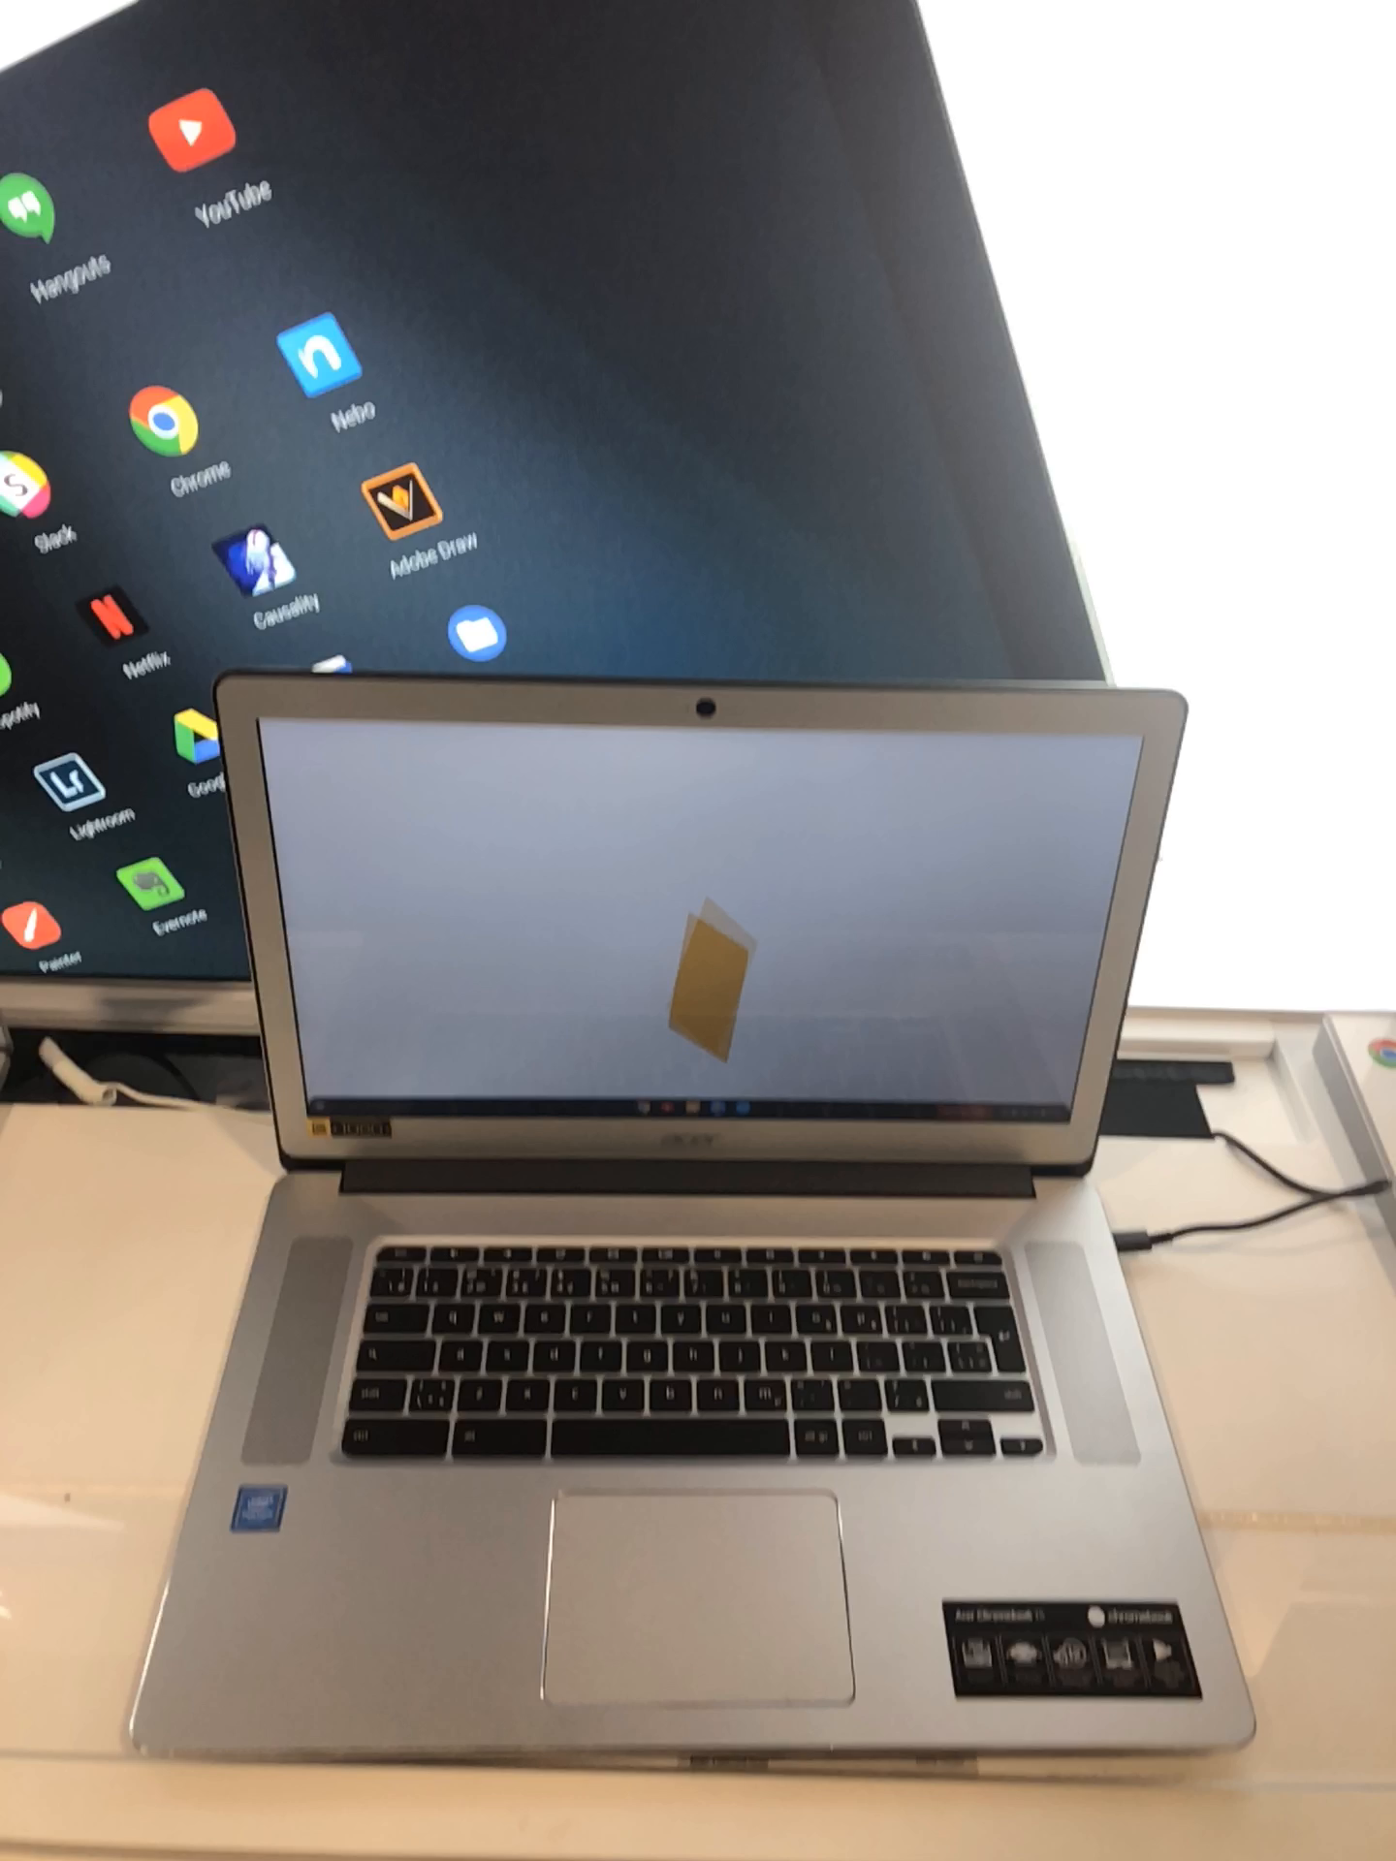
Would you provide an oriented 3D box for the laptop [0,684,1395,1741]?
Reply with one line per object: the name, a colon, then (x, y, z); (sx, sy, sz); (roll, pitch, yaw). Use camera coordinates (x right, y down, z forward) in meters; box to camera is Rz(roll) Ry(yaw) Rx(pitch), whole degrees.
laptop: (0.002, 0.092, 0.559); (0.371, 0.243, 0.283); (1, 39, -3)
